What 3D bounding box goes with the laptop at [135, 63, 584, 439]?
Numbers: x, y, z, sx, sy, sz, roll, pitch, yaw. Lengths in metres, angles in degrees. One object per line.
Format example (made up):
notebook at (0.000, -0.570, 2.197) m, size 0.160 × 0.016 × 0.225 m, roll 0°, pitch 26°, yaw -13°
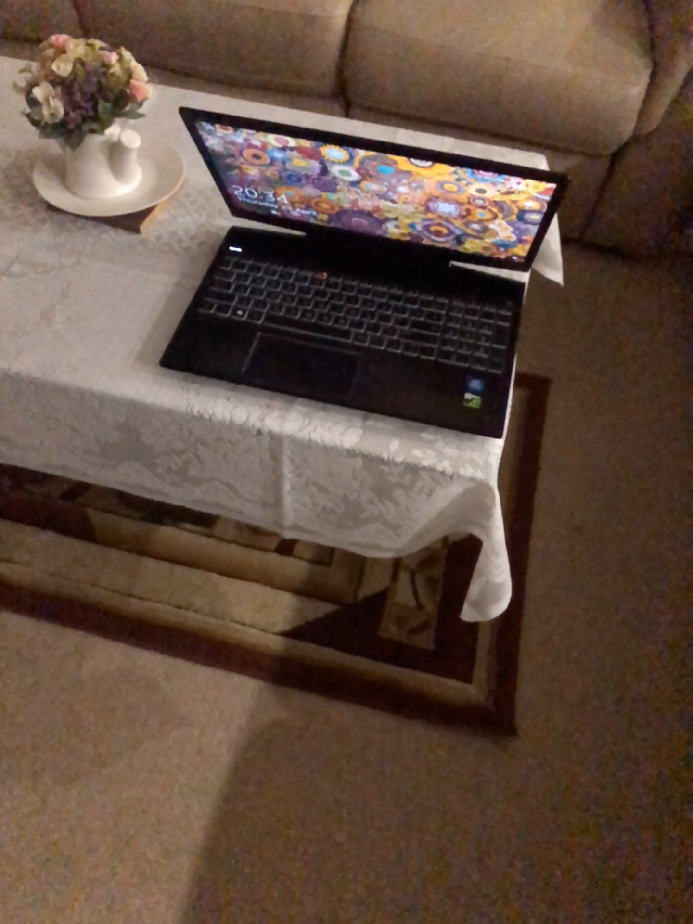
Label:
laptop at (0.023, -0.214, 0.763) m, size 0.355 × 0.199 × 0.243 m, roll 13°, pitch 53°, yaw 6°
